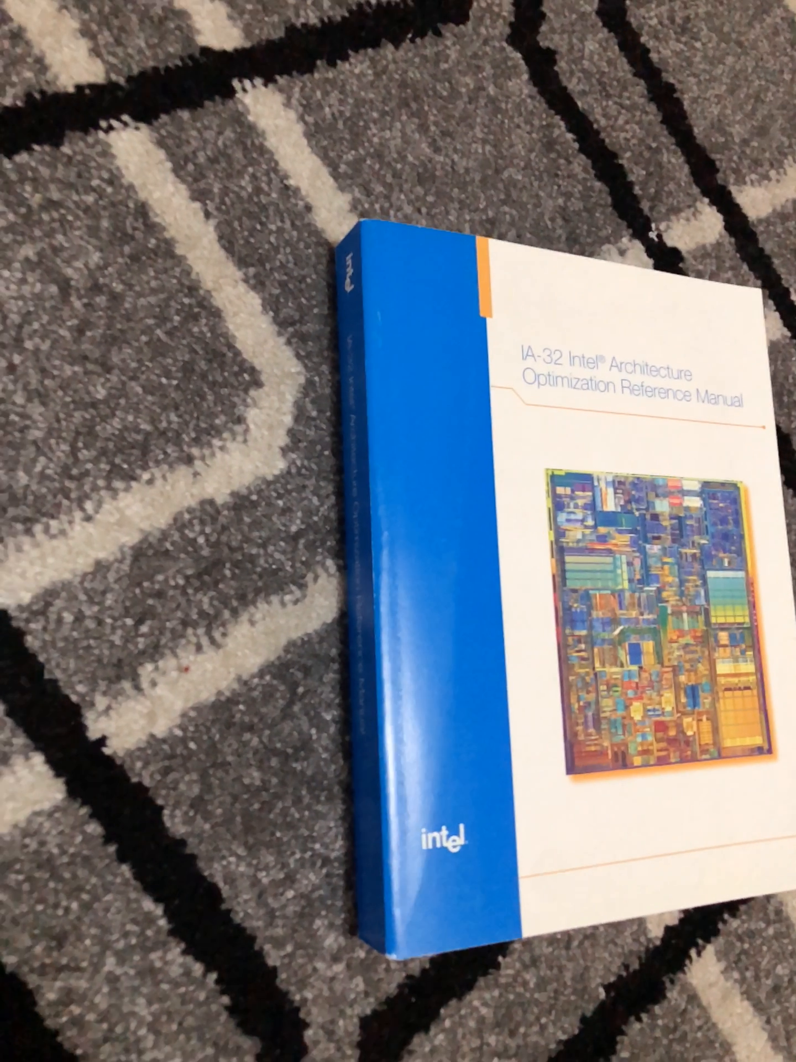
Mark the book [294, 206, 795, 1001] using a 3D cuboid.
[{"bbox_3d":[0.058,0.016,0.284,0.170,0.040,0.210,1,80,-23],"label":"book"}]
